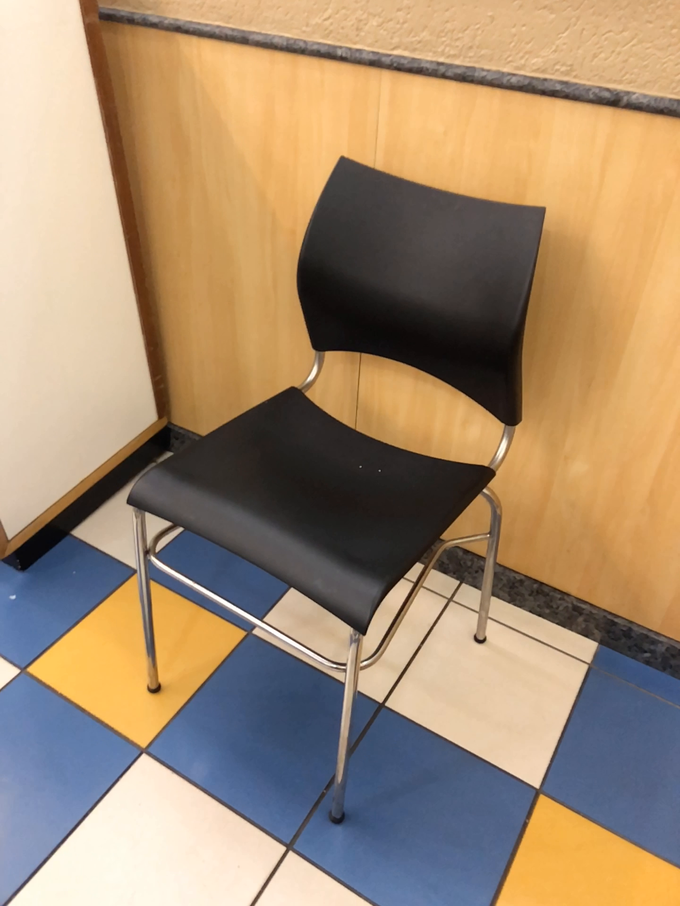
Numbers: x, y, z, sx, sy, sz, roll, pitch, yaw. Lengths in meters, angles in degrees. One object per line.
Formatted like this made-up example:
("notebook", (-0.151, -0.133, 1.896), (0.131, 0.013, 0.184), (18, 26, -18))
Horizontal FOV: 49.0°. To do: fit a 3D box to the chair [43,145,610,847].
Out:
("chair", (-0.006, 0.056, 1.230), (0.511, 0.873, 0.553), (24, 42, 25))
